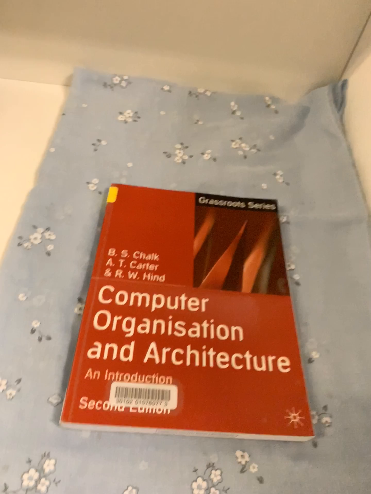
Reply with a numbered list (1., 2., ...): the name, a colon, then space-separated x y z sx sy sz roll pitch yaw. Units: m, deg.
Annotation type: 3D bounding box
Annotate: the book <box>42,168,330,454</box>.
1. book: 0.008 0.038 0.372 0.210 0.030 0.271 7 52 -4
